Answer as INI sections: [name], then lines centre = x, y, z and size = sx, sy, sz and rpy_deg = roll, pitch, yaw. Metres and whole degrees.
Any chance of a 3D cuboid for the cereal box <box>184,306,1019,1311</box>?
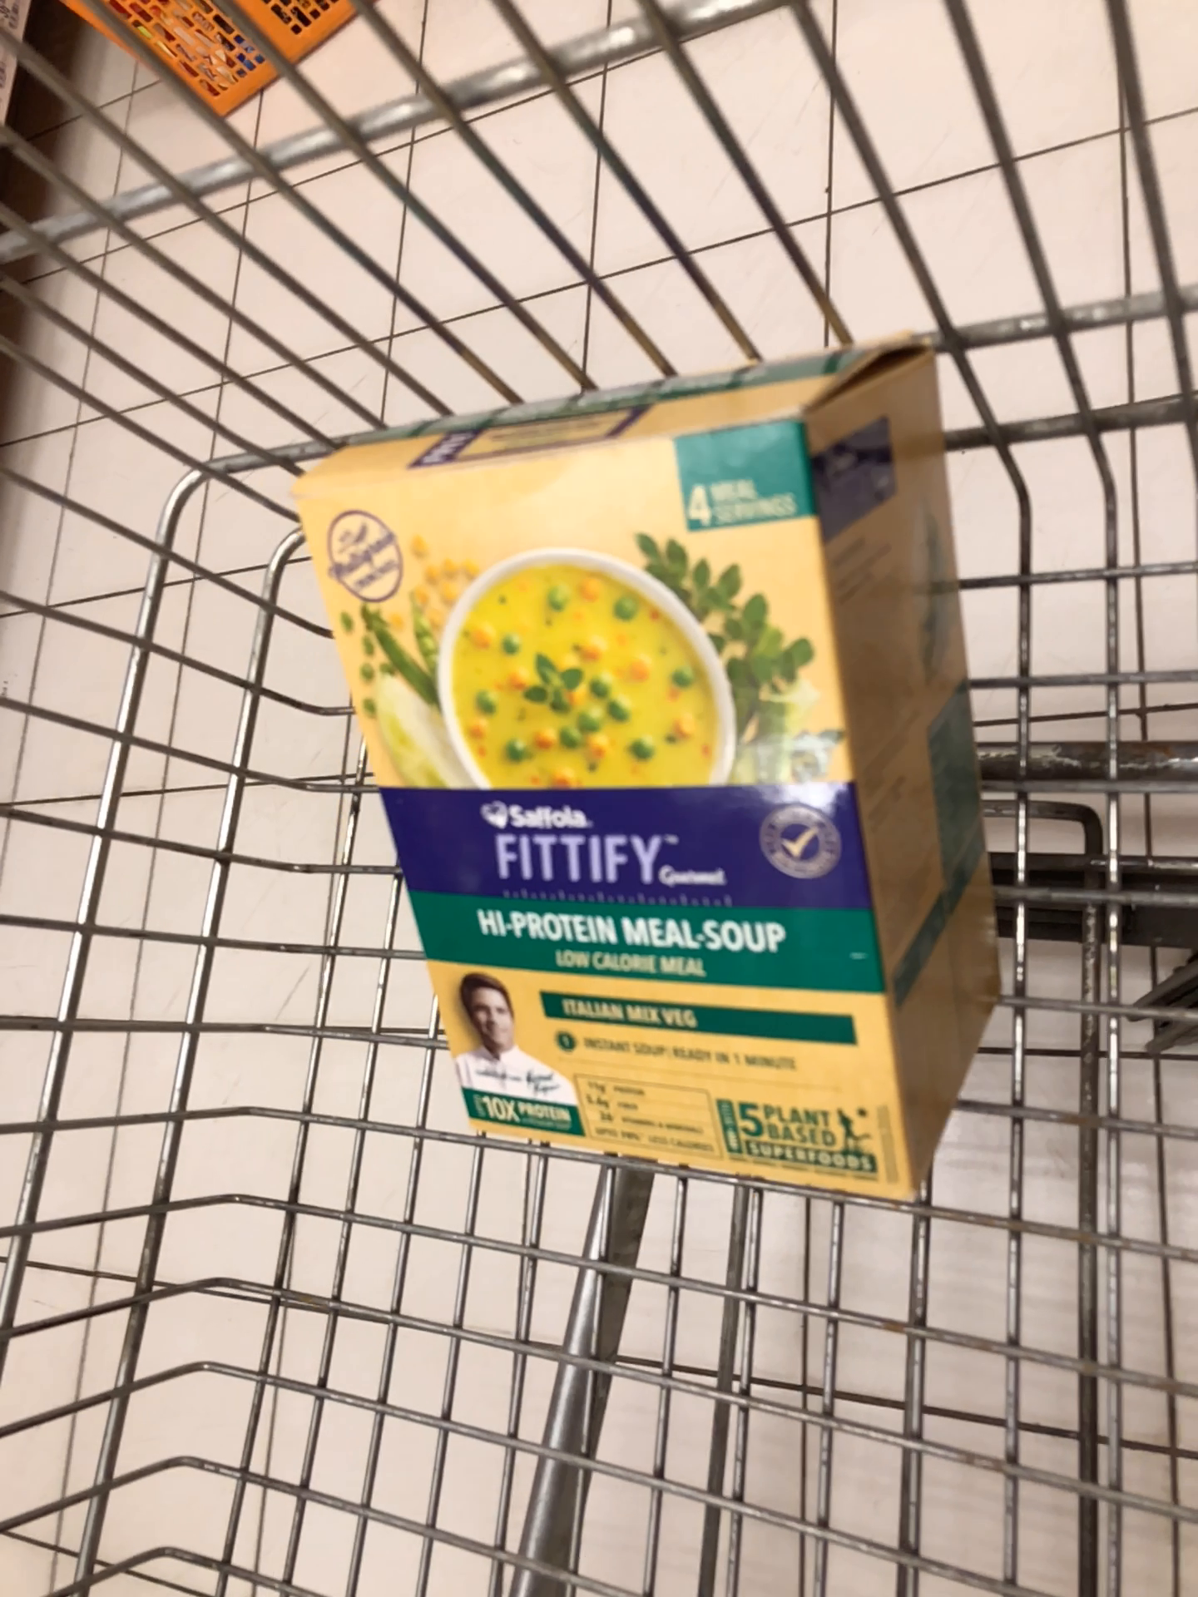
[cereal box]
centre = 0.011, -0.001, 0.295
size = 0.130, 0.090, 0.180
rpy_deg = 0, 112, 30
